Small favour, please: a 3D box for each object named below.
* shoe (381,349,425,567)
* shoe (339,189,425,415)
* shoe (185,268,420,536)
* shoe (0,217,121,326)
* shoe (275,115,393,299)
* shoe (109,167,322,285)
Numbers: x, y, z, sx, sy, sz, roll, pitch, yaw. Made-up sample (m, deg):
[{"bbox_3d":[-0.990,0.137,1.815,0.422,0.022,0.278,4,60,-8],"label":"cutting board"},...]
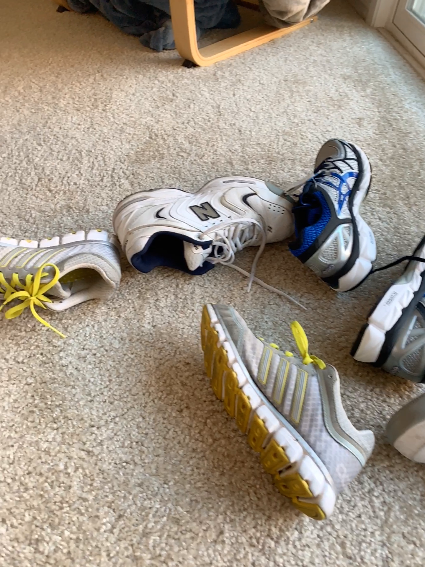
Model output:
[{"bbox_3d":[0.313,0.166,0.405,0.270,0.099,0.100,15,48,10],"label":"shoe"},{"bbox_3d":[0.282,0.006,0.557,0.120,0.090,0.281,28,52,18],"label":"shoe"},{"bbox_3d":[0.069,0.101,0.431,0.100,0.090,0.221,-19,50,-23],"label":"shoe"},{"bbox_3d":[-0.240,-0.018,0.559,0.230,0.080,0.080,-7,40,-10],"label":"shoe"},{"bbox_3d":[0.177,-0.124,0.657,0.120,0.090,0.261,27,46,-17],"label":"shoe"},{"bbox_3d":[0.000,-0.087,0.640,0.280,0.099,0.101,-8,51,-10],"label":"shoe"}]
